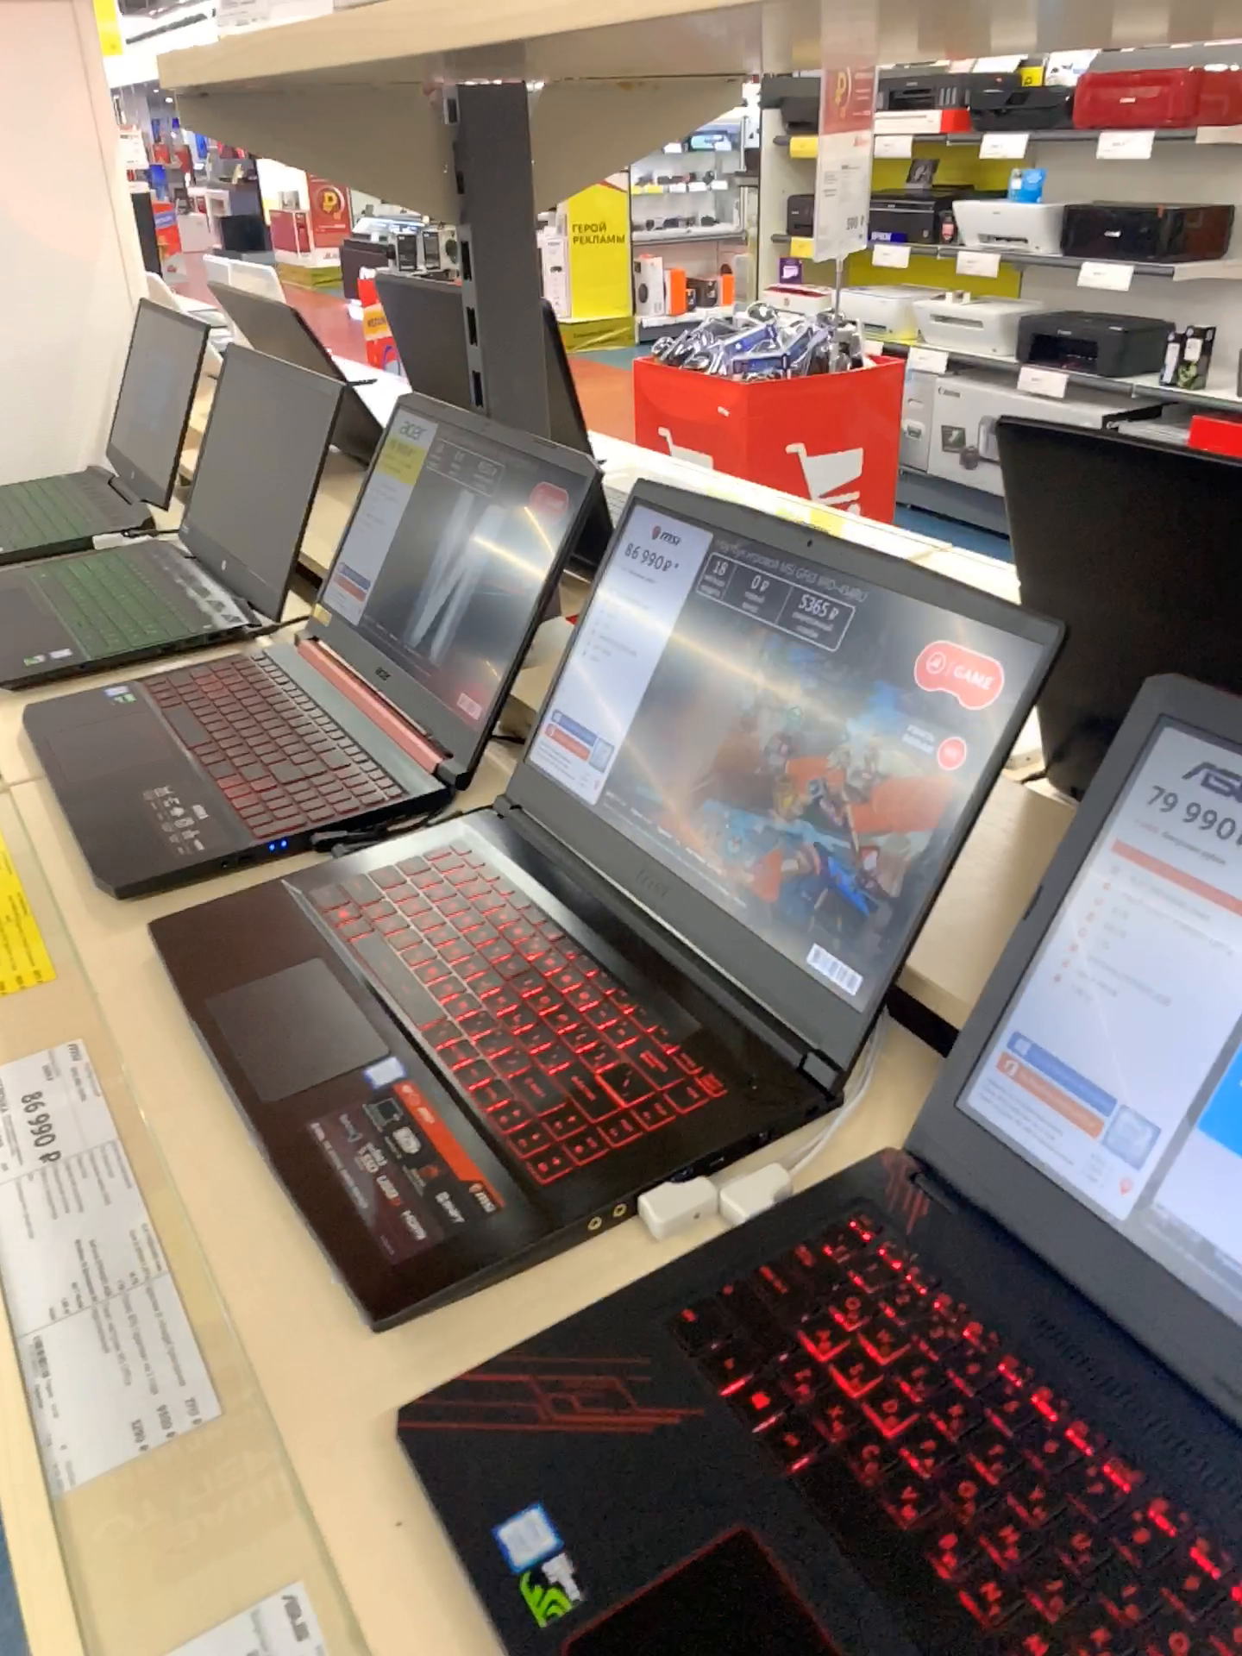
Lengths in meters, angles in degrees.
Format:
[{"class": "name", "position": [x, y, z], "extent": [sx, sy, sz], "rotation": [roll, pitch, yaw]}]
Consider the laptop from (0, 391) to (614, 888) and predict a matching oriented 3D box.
[{"class": "laptop", "position": [-0.259, -0.171, 0.951], "extent": [0.371, 0.211, 0.336], "rotation": [-18, 32, -25]}]

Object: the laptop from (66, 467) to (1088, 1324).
[{"class": "laptop", "position": [-0.038, -0.020, 0.667], "extent": [0.370, 0.204, 0.352], "rotation": [-20, 33, -27]}]
